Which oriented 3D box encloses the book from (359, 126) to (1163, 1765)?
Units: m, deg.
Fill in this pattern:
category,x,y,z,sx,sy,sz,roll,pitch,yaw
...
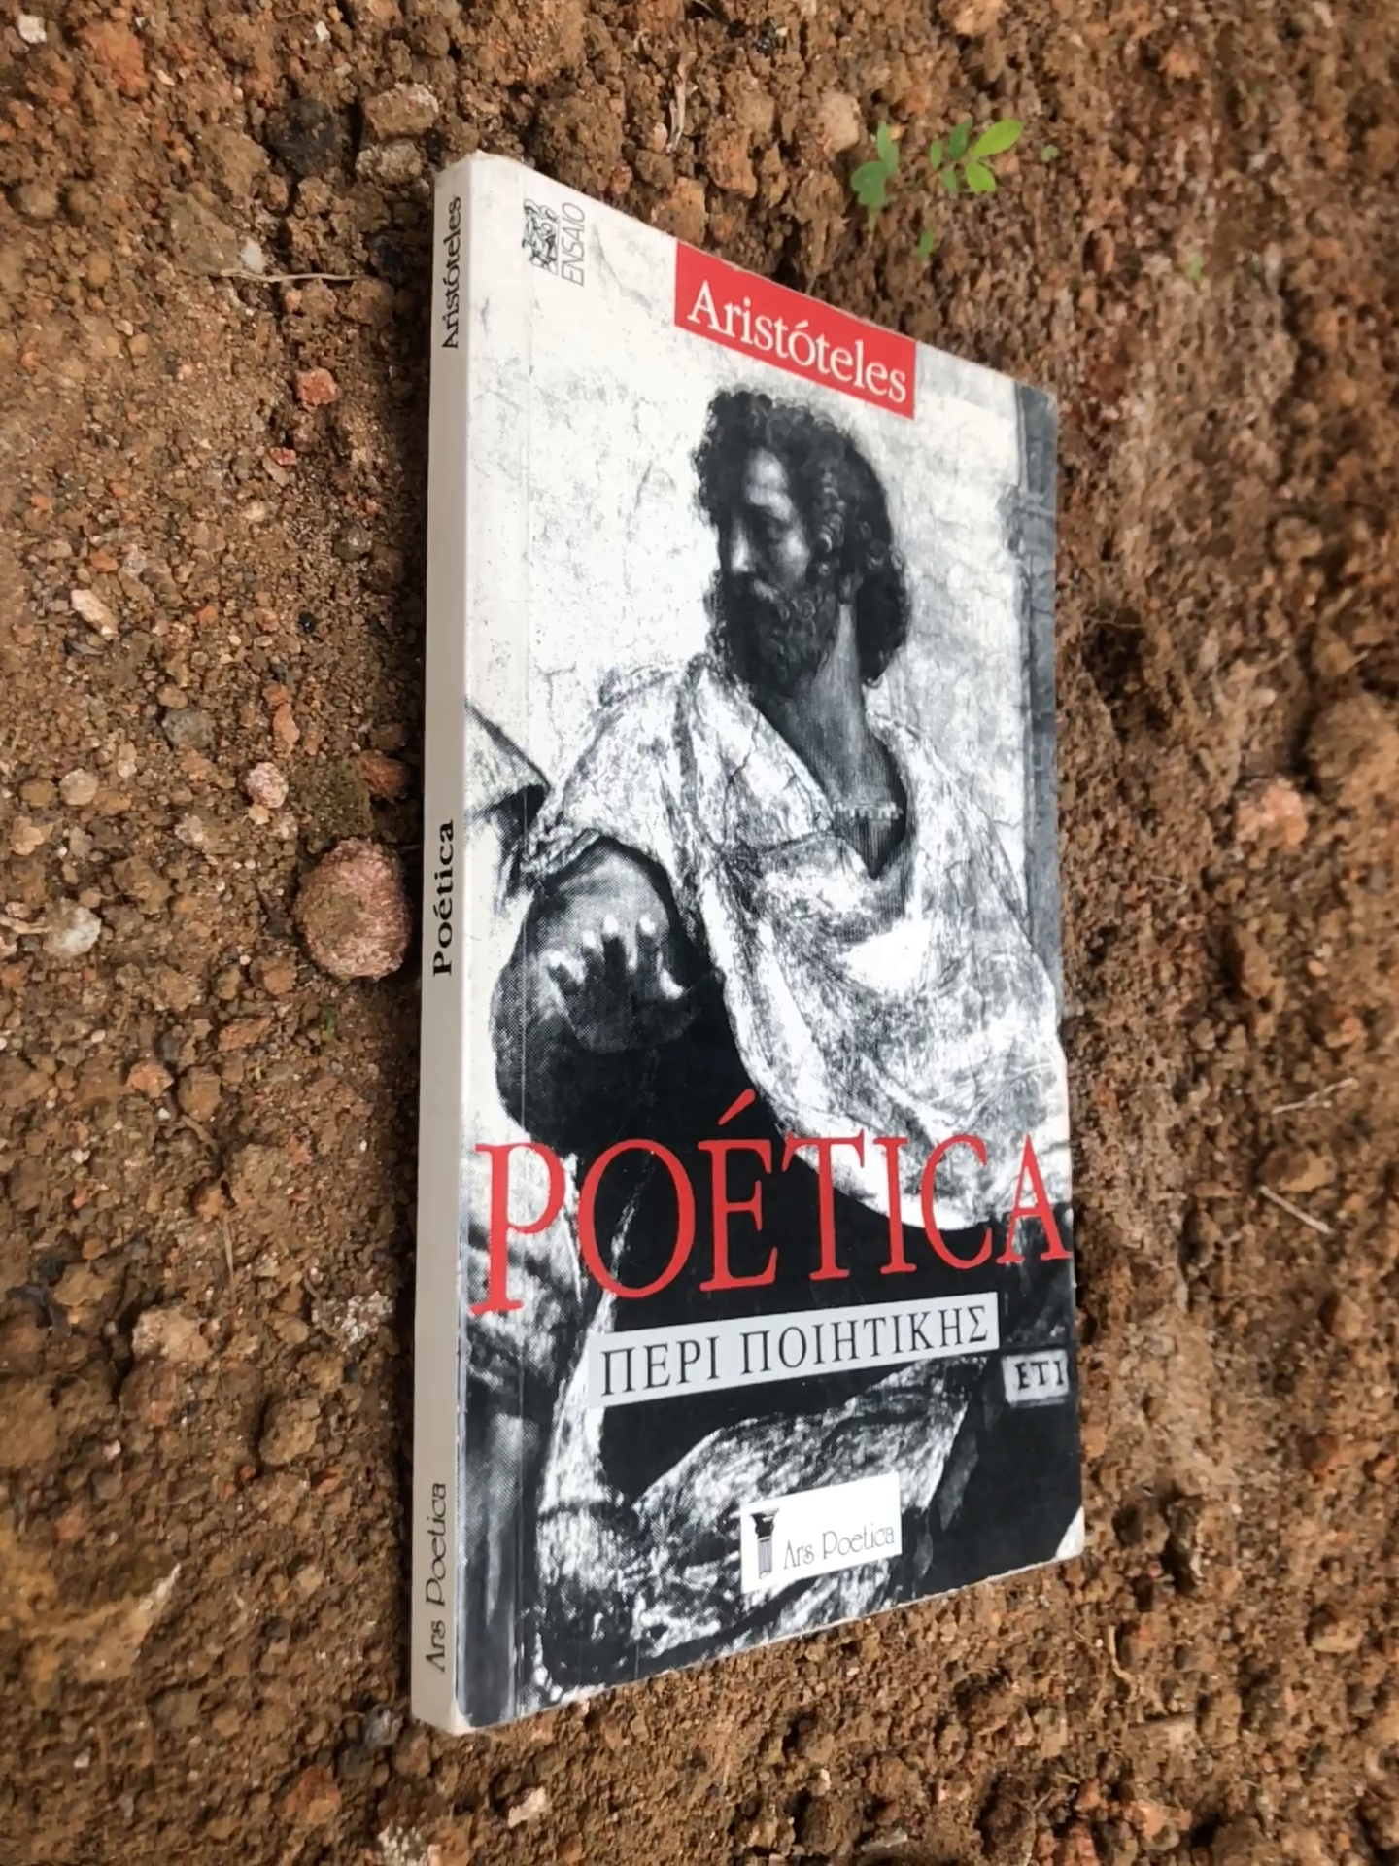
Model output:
category,x,y,z,sx,sy,sz,roll,pitch,yaw
book,0.017,0.001,0.225,0.131,0.015,0.189,5,82,-37
